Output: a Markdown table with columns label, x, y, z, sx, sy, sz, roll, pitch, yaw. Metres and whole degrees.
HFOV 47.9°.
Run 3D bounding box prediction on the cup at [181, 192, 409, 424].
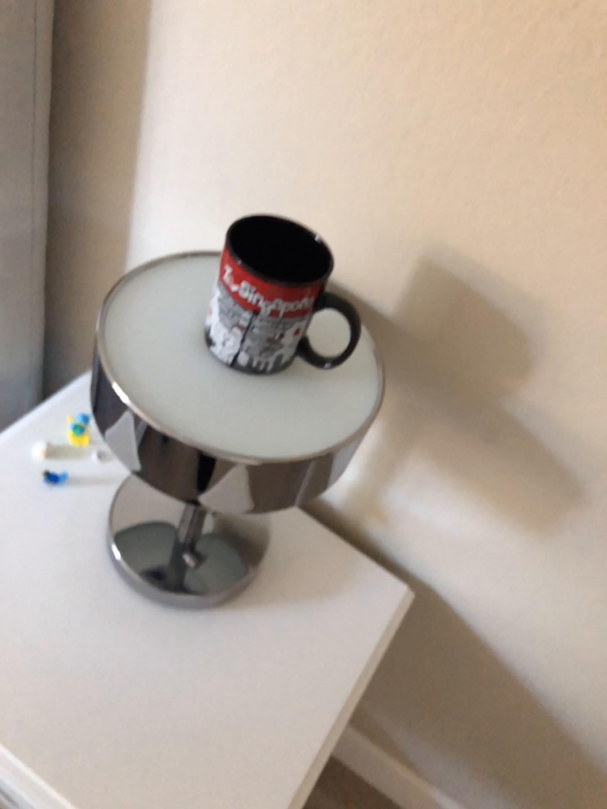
| label | x | y | z | sx | sy | sz | roll | pitch | yaw |
| --- | --- | --- | --- | --- | --- | --- | --- | --- | --- |
| cup | -0.007 | -0.074 | 0.523 | 0.130 | 0.100 | 0.090 | 25 | 45 | 1 |
